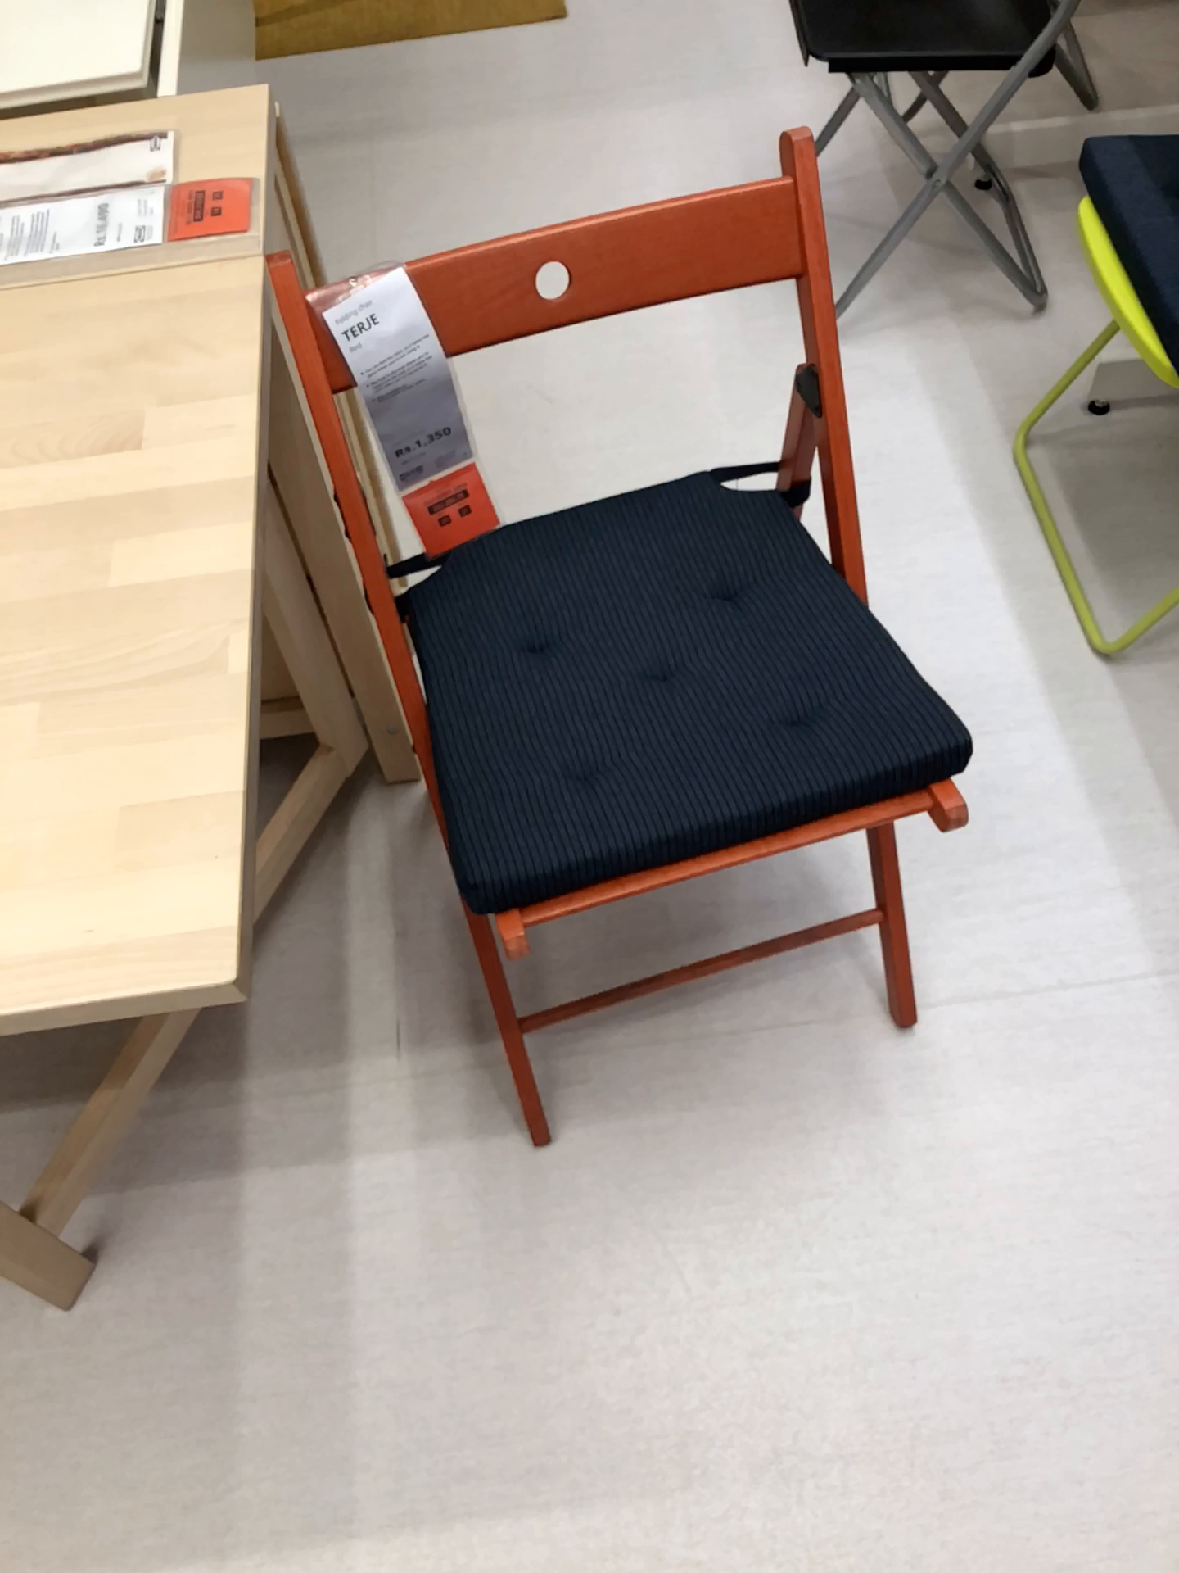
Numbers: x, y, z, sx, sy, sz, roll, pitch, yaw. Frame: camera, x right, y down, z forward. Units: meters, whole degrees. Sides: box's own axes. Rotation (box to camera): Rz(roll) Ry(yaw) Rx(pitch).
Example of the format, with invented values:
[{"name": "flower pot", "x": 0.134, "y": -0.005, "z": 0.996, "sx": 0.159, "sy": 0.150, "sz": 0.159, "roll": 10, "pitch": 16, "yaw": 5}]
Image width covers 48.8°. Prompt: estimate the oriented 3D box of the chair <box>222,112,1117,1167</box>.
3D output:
[{"name": "chair", "x": 0.039, "y": -0.078, "z": 1.170, "sx": 0.470, "sy": 0.716, "sz": 0.502, "roll": -15, "pitch": 56, "yaw": -6}]
